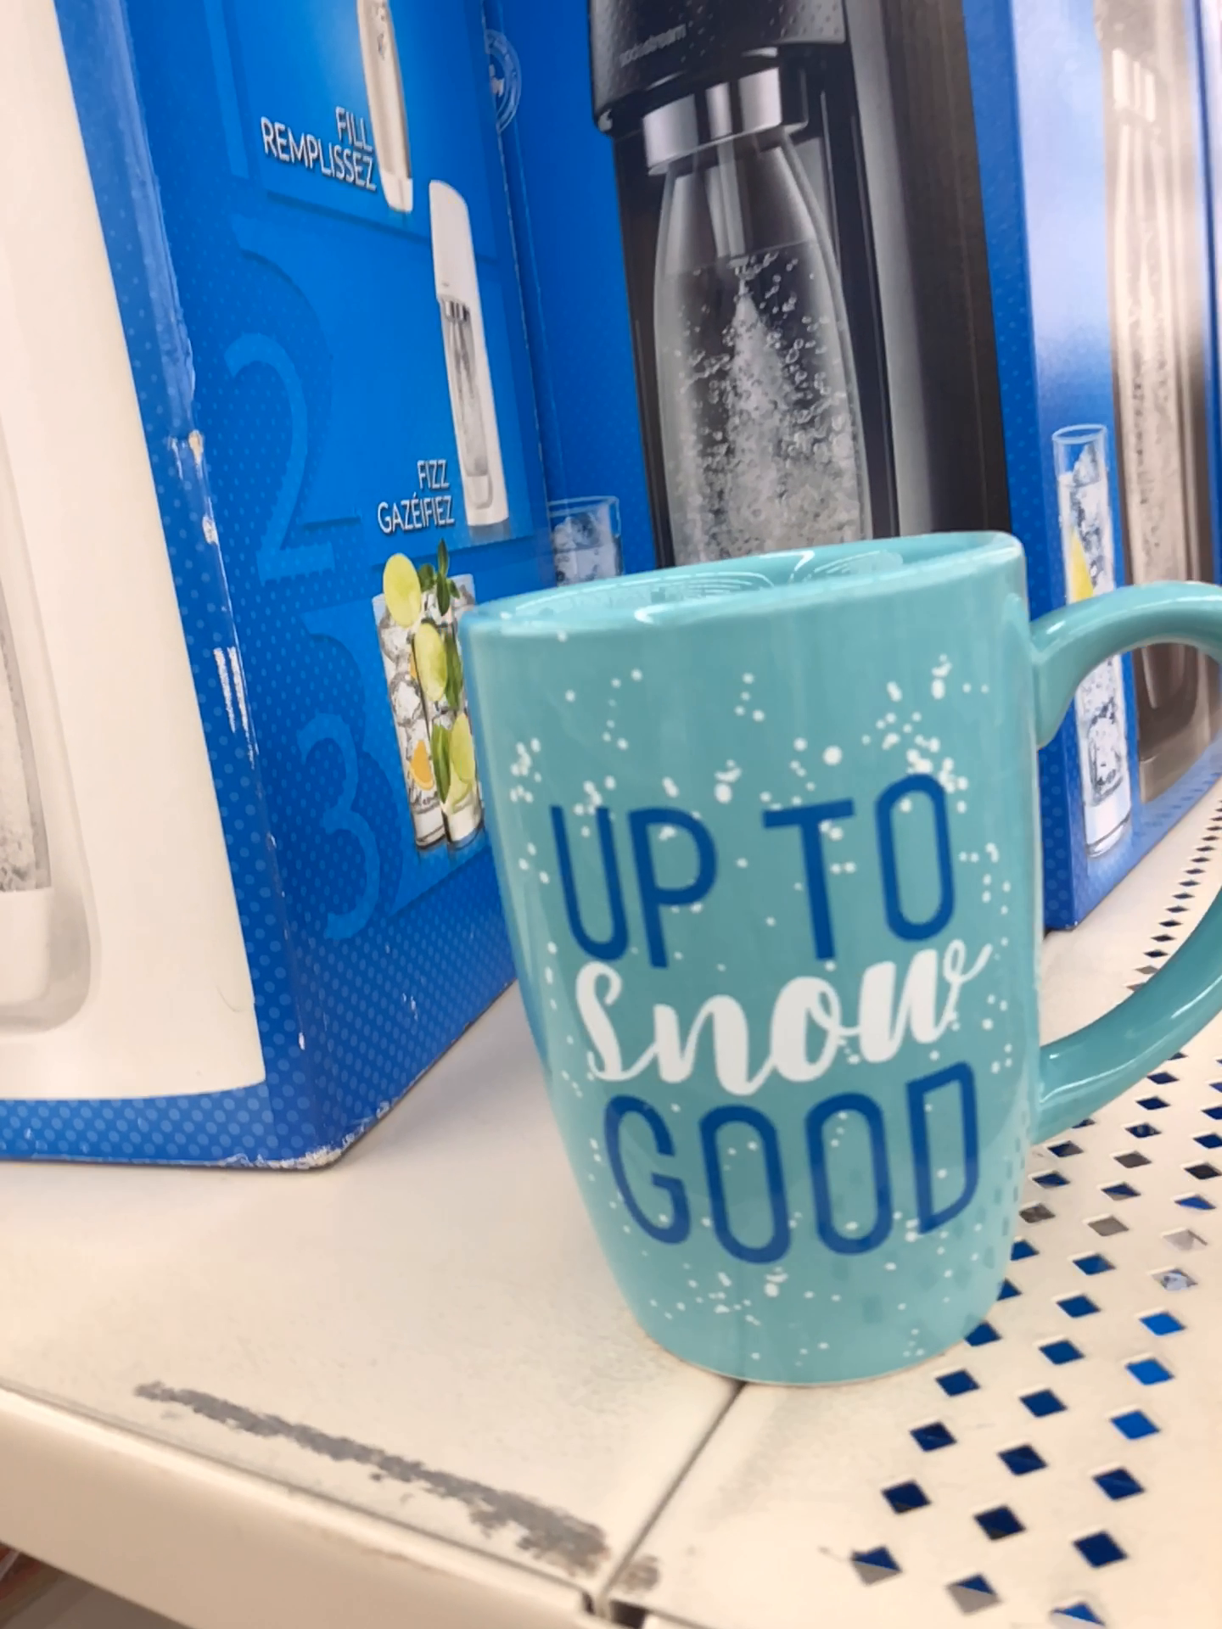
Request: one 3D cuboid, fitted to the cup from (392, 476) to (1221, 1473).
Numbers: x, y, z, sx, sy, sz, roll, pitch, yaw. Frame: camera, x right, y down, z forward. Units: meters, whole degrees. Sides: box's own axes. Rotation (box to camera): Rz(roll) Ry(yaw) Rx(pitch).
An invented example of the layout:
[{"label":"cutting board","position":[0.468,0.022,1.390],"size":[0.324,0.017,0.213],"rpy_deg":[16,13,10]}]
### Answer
[{"label":"cup","position":[0.043,0.014,0.231],"size":[0.140,0.120,0.090],"rpy_deg":[-9,13,-9]}]
